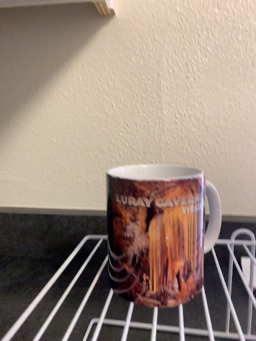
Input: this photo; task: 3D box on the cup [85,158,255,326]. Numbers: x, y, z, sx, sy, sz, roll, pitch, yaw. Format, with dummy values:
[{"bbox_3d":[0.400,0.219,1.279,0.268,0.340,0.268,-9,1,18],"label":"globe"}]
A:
[{"bbox_3d":[0.036,0.043,0.222,0.120,0.090,0.080,-6,11,-26],"label":"cup"}]
